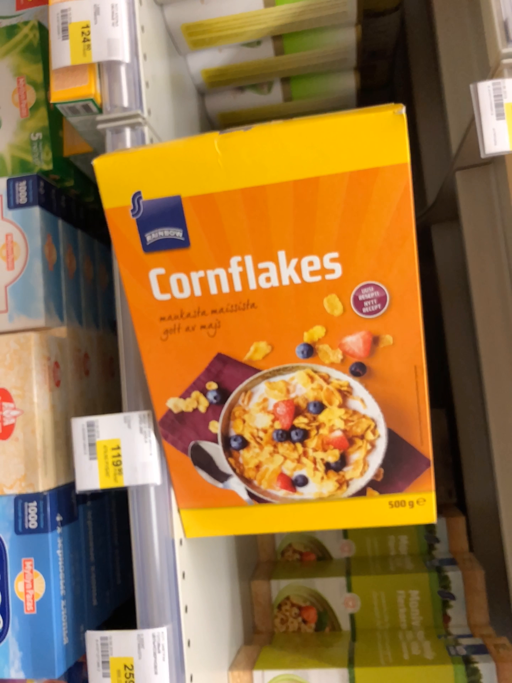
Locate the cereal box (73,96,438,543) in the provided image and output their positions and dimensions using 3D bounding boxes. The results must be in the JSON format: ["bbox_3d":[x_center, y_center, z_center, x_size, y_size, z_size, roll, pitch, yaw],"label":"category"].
[{"bbox_3d":[0.017,-0.011,0.435,0.120,0.200,0.290,-73,155,-69],"label":"cereal box"}]
